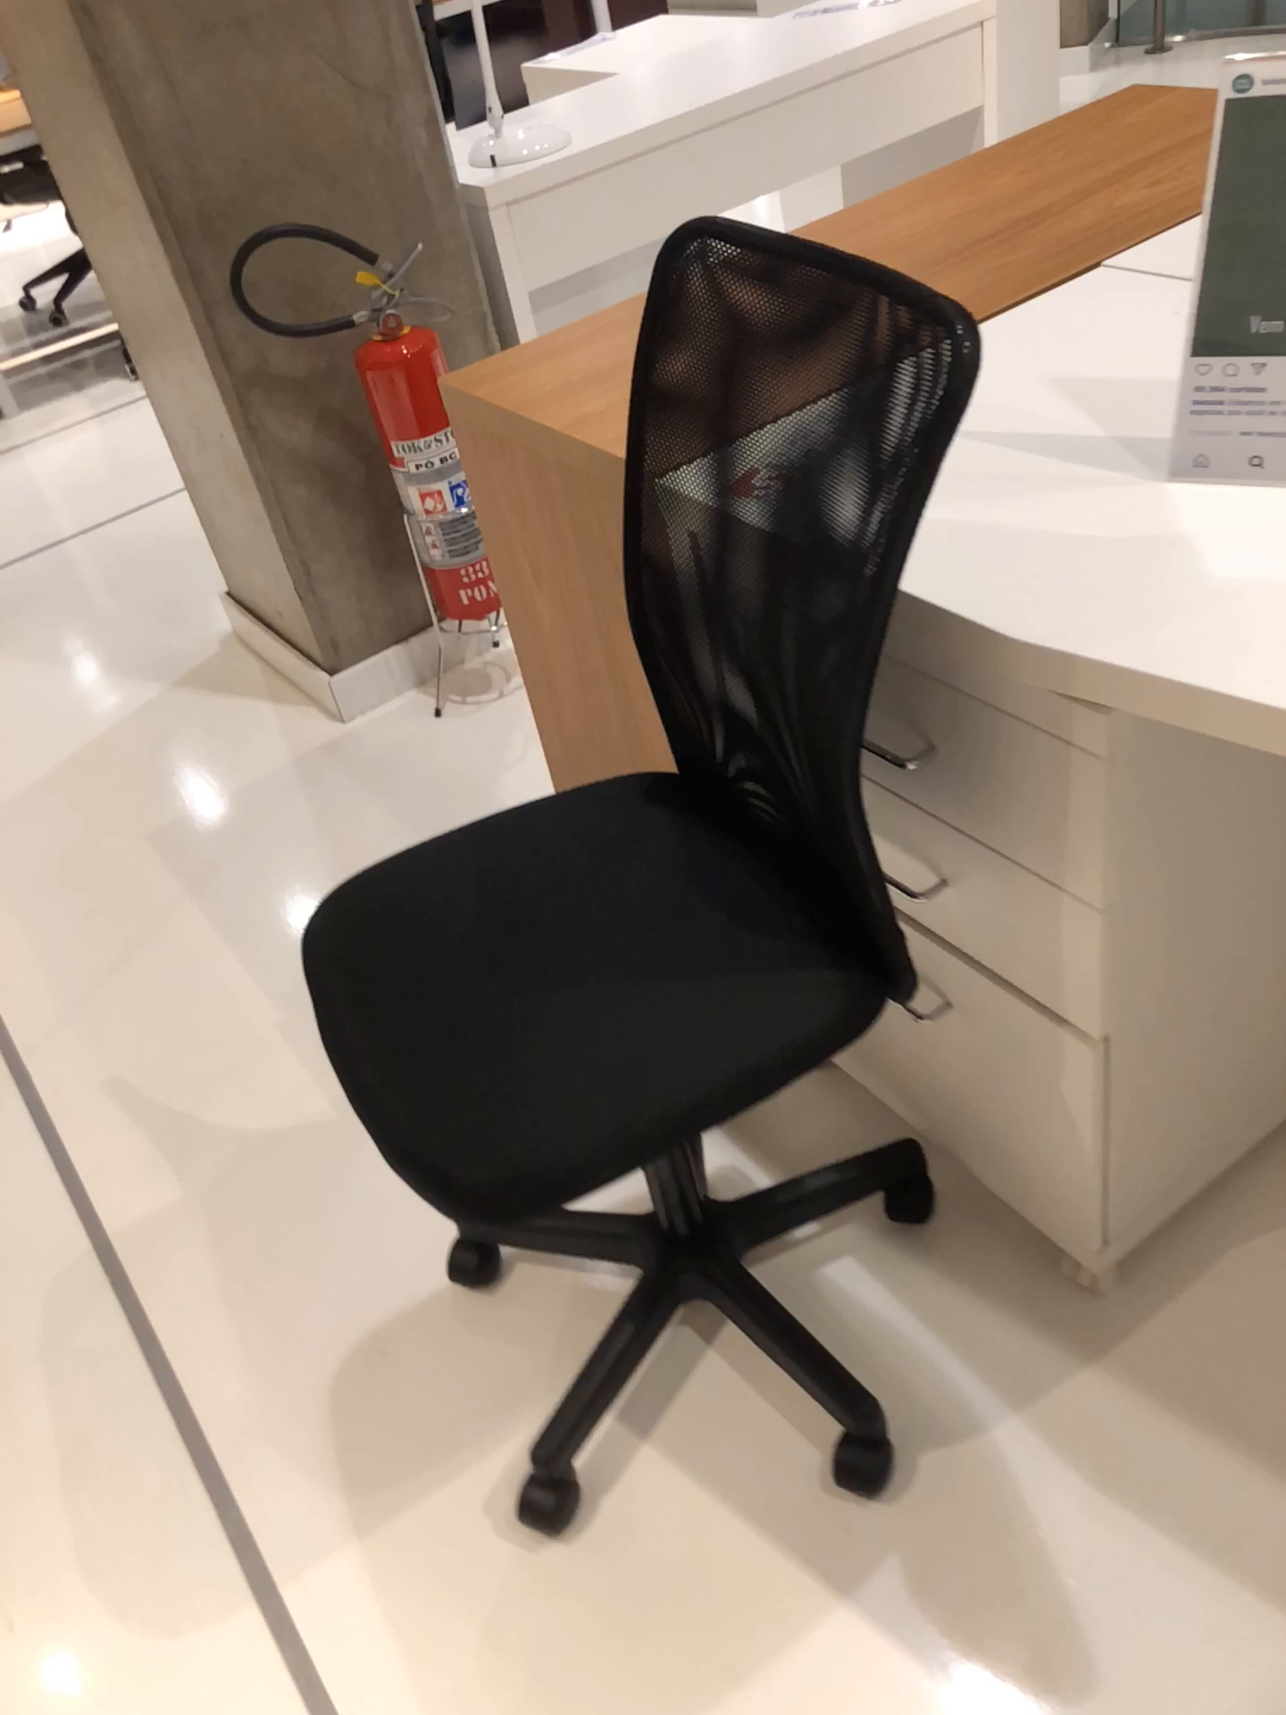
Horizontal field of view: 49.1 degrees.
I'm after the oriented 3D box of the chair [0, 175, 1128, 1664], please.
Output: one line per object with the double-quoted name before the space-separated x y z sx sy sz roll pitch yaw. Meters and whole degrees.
"chair" -0.034 0.053 1.156 0.571 0.923 0.564 -24 39 -13
